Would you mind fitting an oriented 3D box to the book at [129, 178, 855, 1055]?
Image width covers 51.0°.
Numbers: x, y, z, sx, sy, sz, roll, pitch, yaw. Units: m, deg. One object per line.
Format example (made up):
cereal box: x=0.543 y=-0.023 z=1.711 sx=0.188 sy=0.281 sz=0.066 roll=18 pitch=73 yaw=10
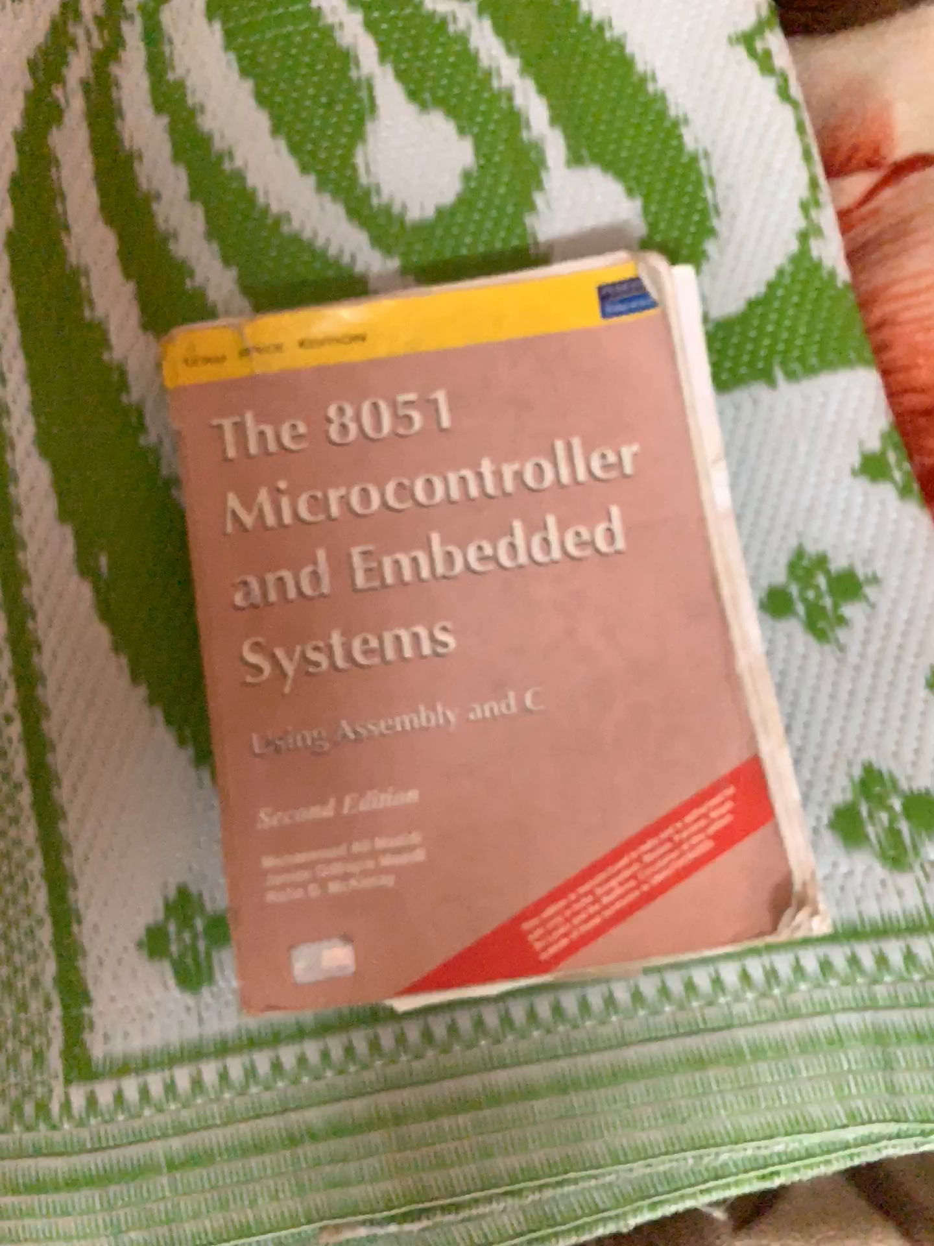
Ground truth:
book: x=0.002 y=-0.005 z=0.395 sx=0.230 sy=0.050 sz=0.300 roll=-10 pitch=83 yaw=4
